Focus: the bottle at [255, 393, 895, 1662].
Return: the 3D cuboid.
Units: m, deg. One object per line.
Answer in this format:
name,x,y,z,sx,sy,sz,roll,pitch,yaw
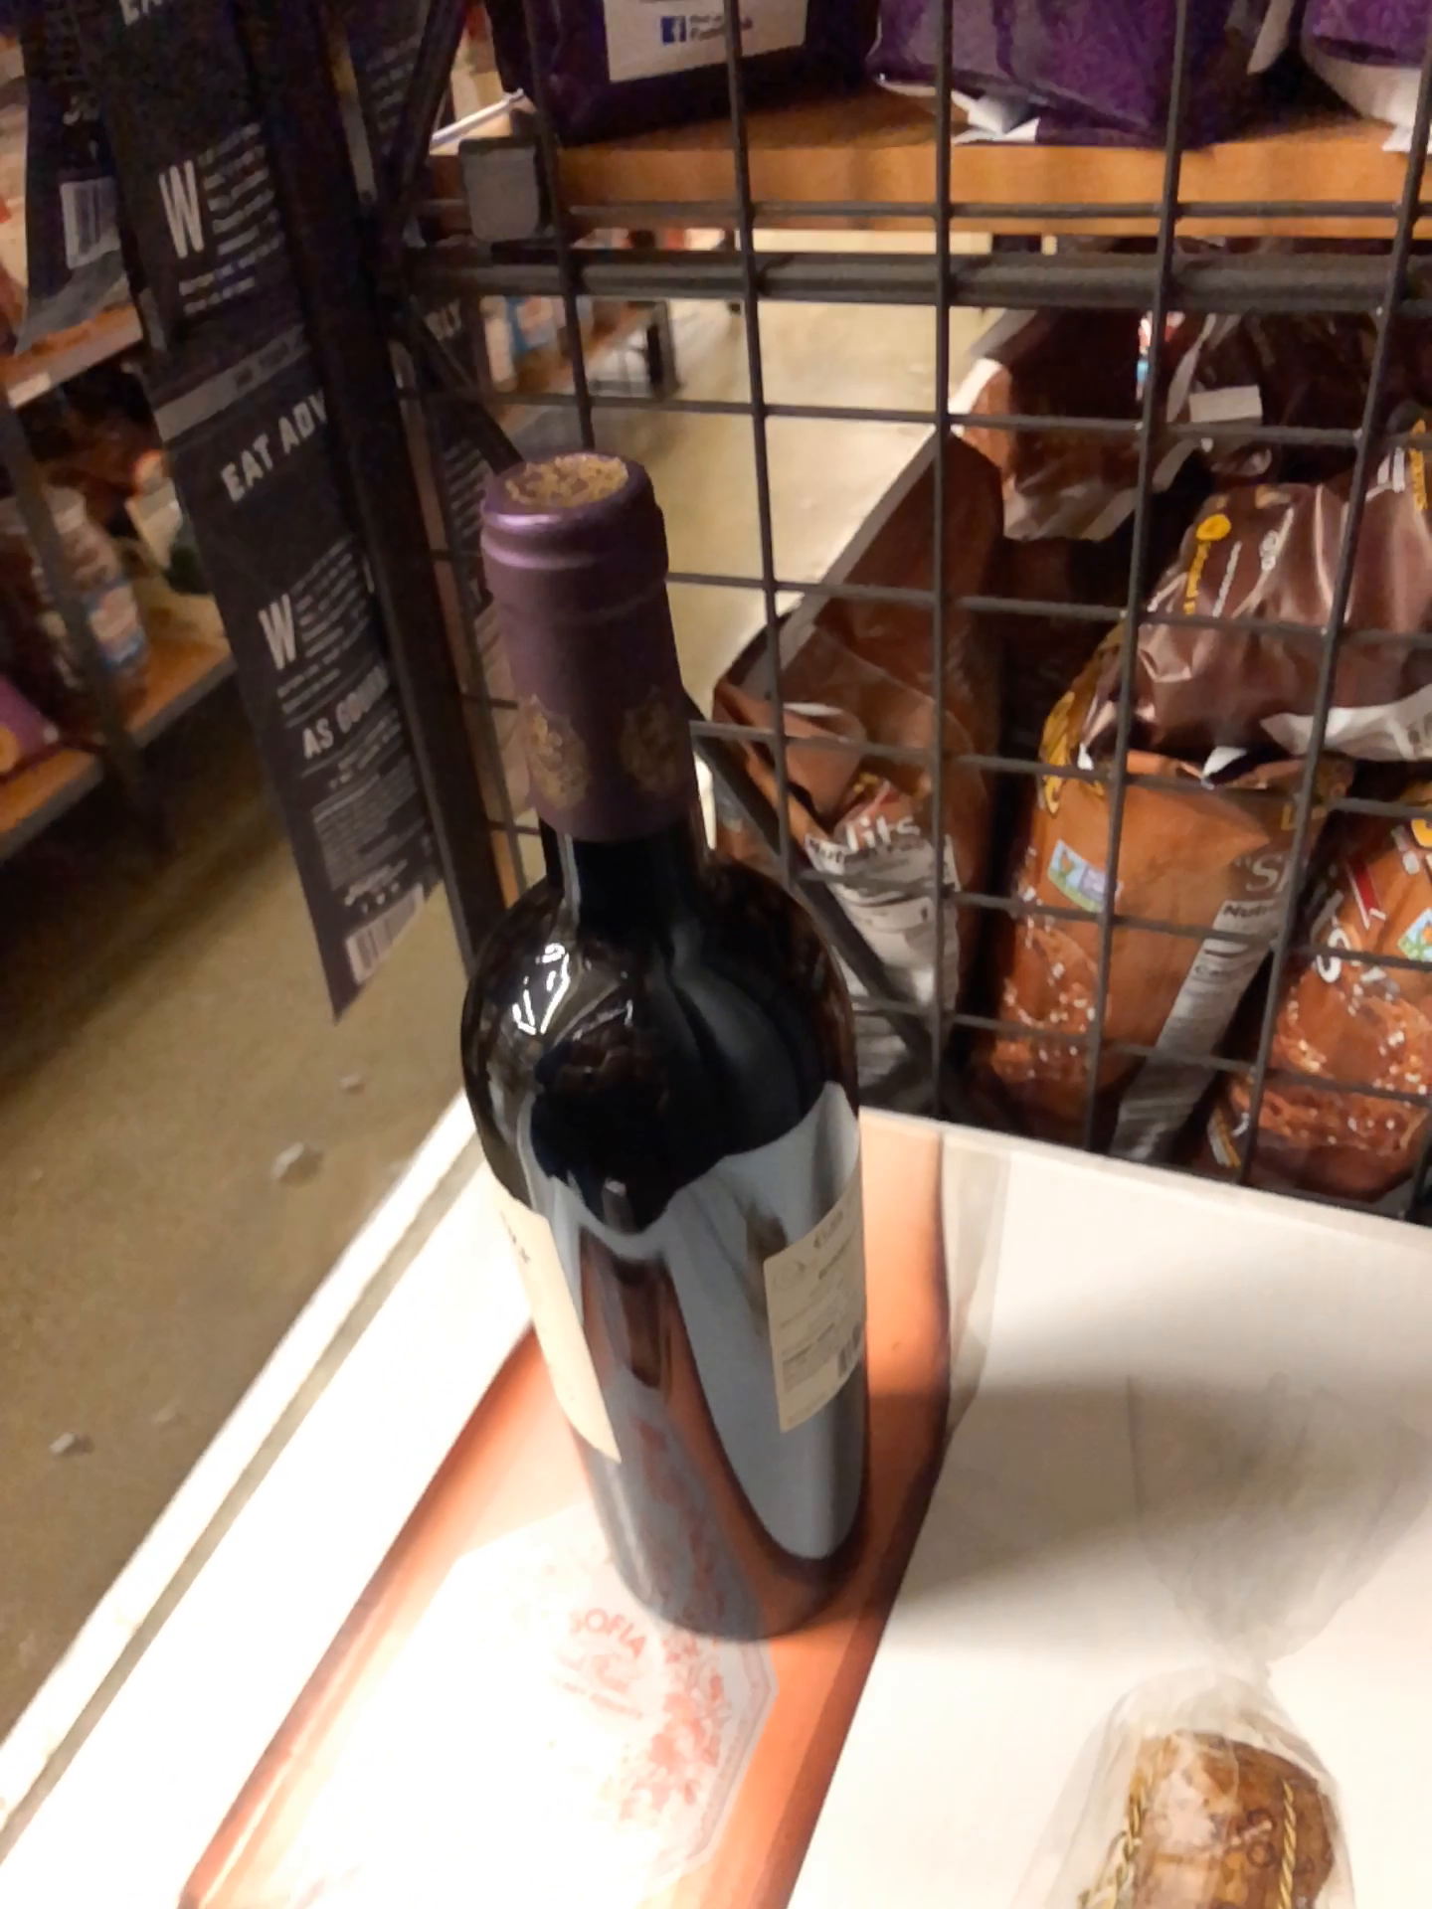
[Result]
bottle,-0.008,0.038,0.343,0.085,0.290,0.073,2,39,10
